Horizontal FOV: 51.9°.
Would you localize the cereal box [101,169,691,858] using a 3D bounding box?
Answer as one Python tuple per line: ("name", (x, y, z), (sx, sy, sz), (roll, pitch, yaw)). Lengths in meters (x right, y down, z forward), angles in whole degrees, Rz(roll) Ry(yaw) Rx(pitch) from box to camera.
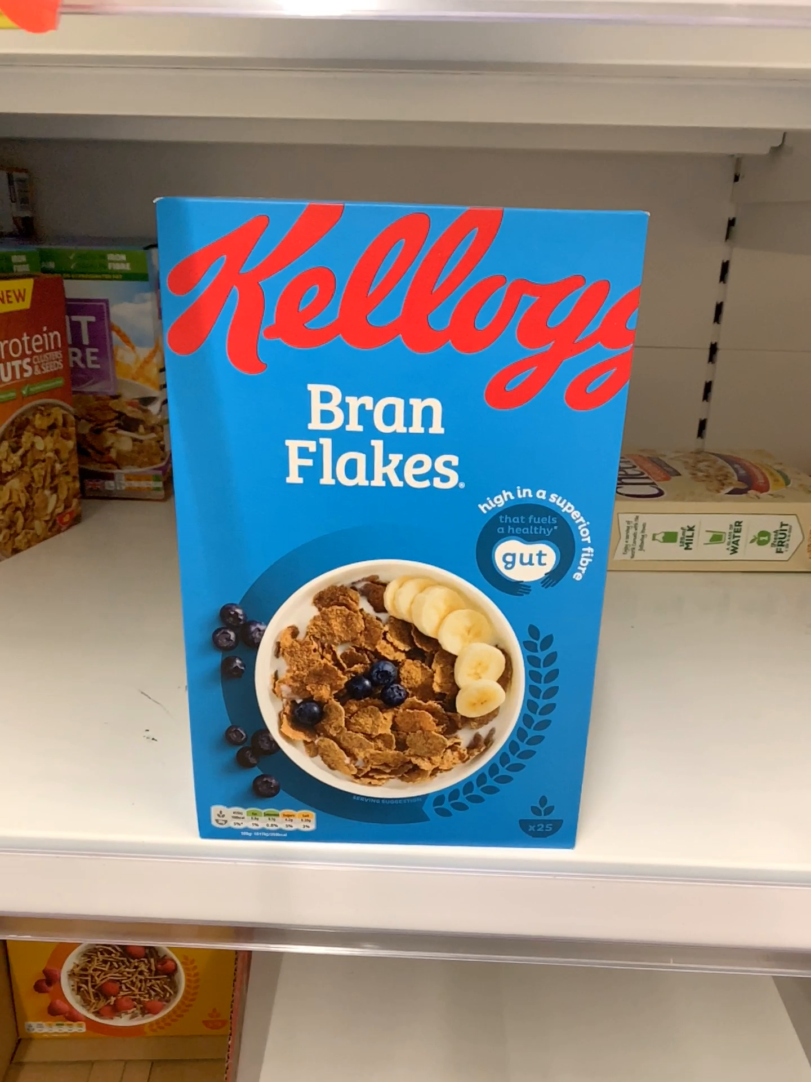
("cereal box", (-0.006, -0.007, 0.391), (0.210, 0.298, 0.091), (1, 20, 0))
